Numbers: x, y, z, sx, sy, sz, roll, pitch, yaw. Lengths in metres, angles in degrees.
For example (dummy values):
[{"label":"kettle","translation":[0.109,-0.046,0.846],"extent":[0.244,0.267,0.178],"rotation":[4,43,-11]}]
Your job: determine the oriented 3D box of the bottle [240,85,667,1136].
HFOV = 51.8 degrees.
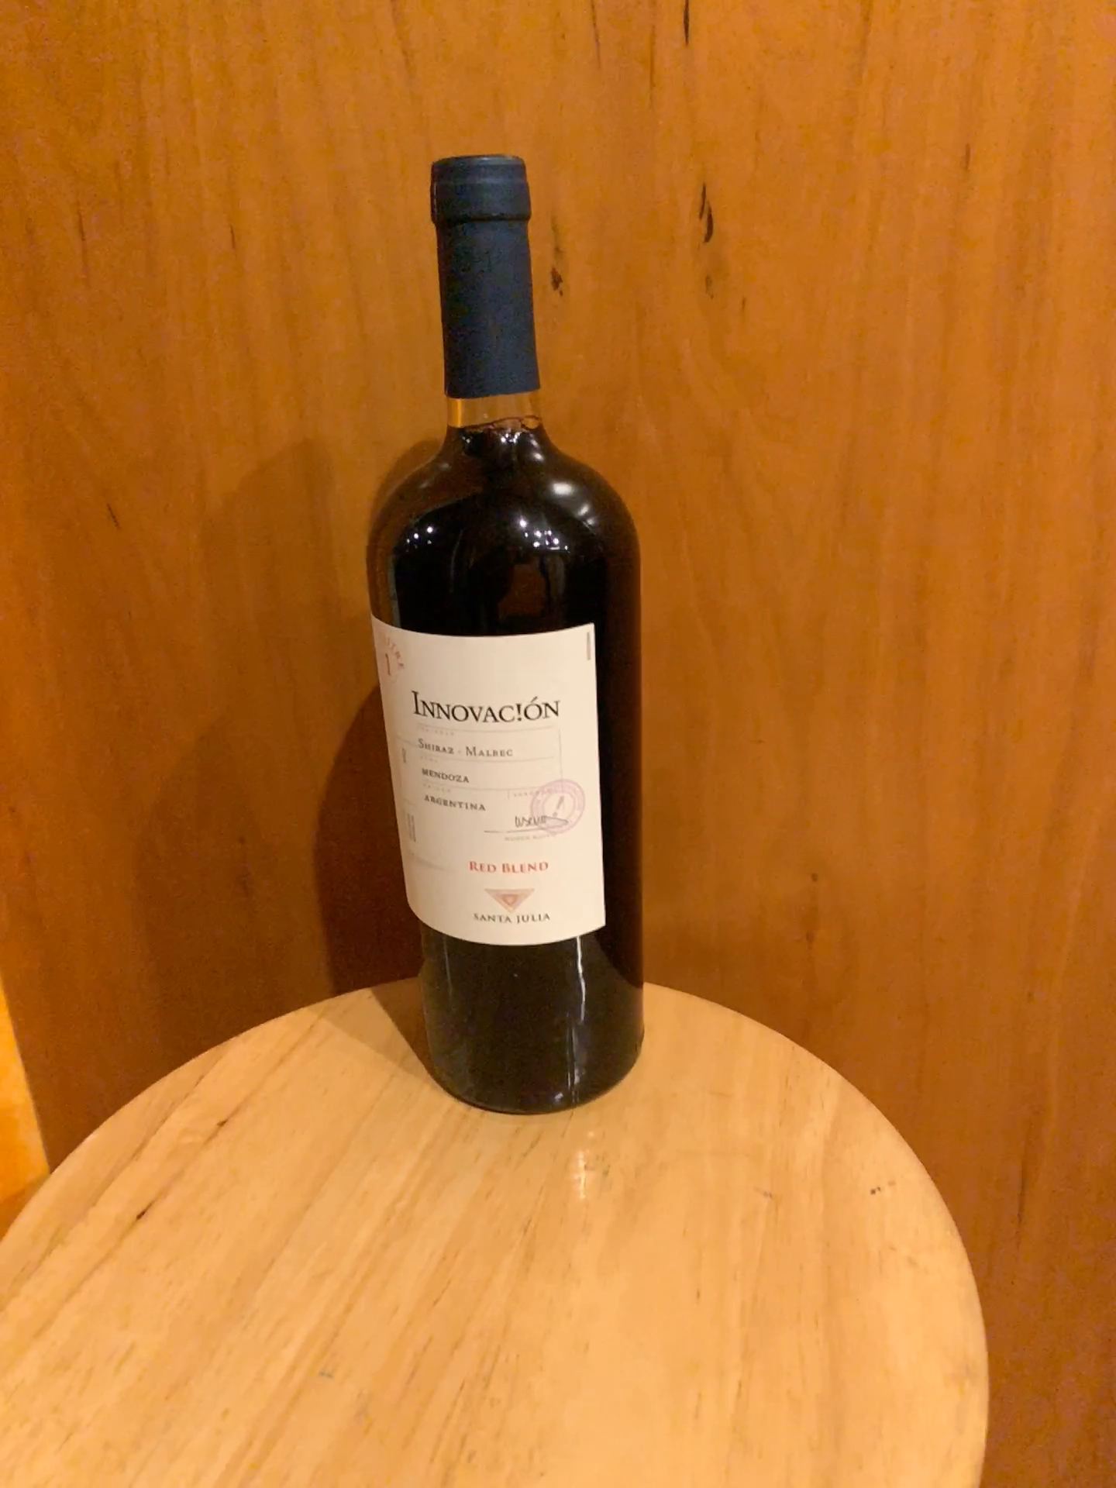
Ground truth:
[{"label":"bottle","translation":[-0.019,-0.030,0.366],"extent":[0.090,0.299,0.080],"rotation":[3,22,15]}]
